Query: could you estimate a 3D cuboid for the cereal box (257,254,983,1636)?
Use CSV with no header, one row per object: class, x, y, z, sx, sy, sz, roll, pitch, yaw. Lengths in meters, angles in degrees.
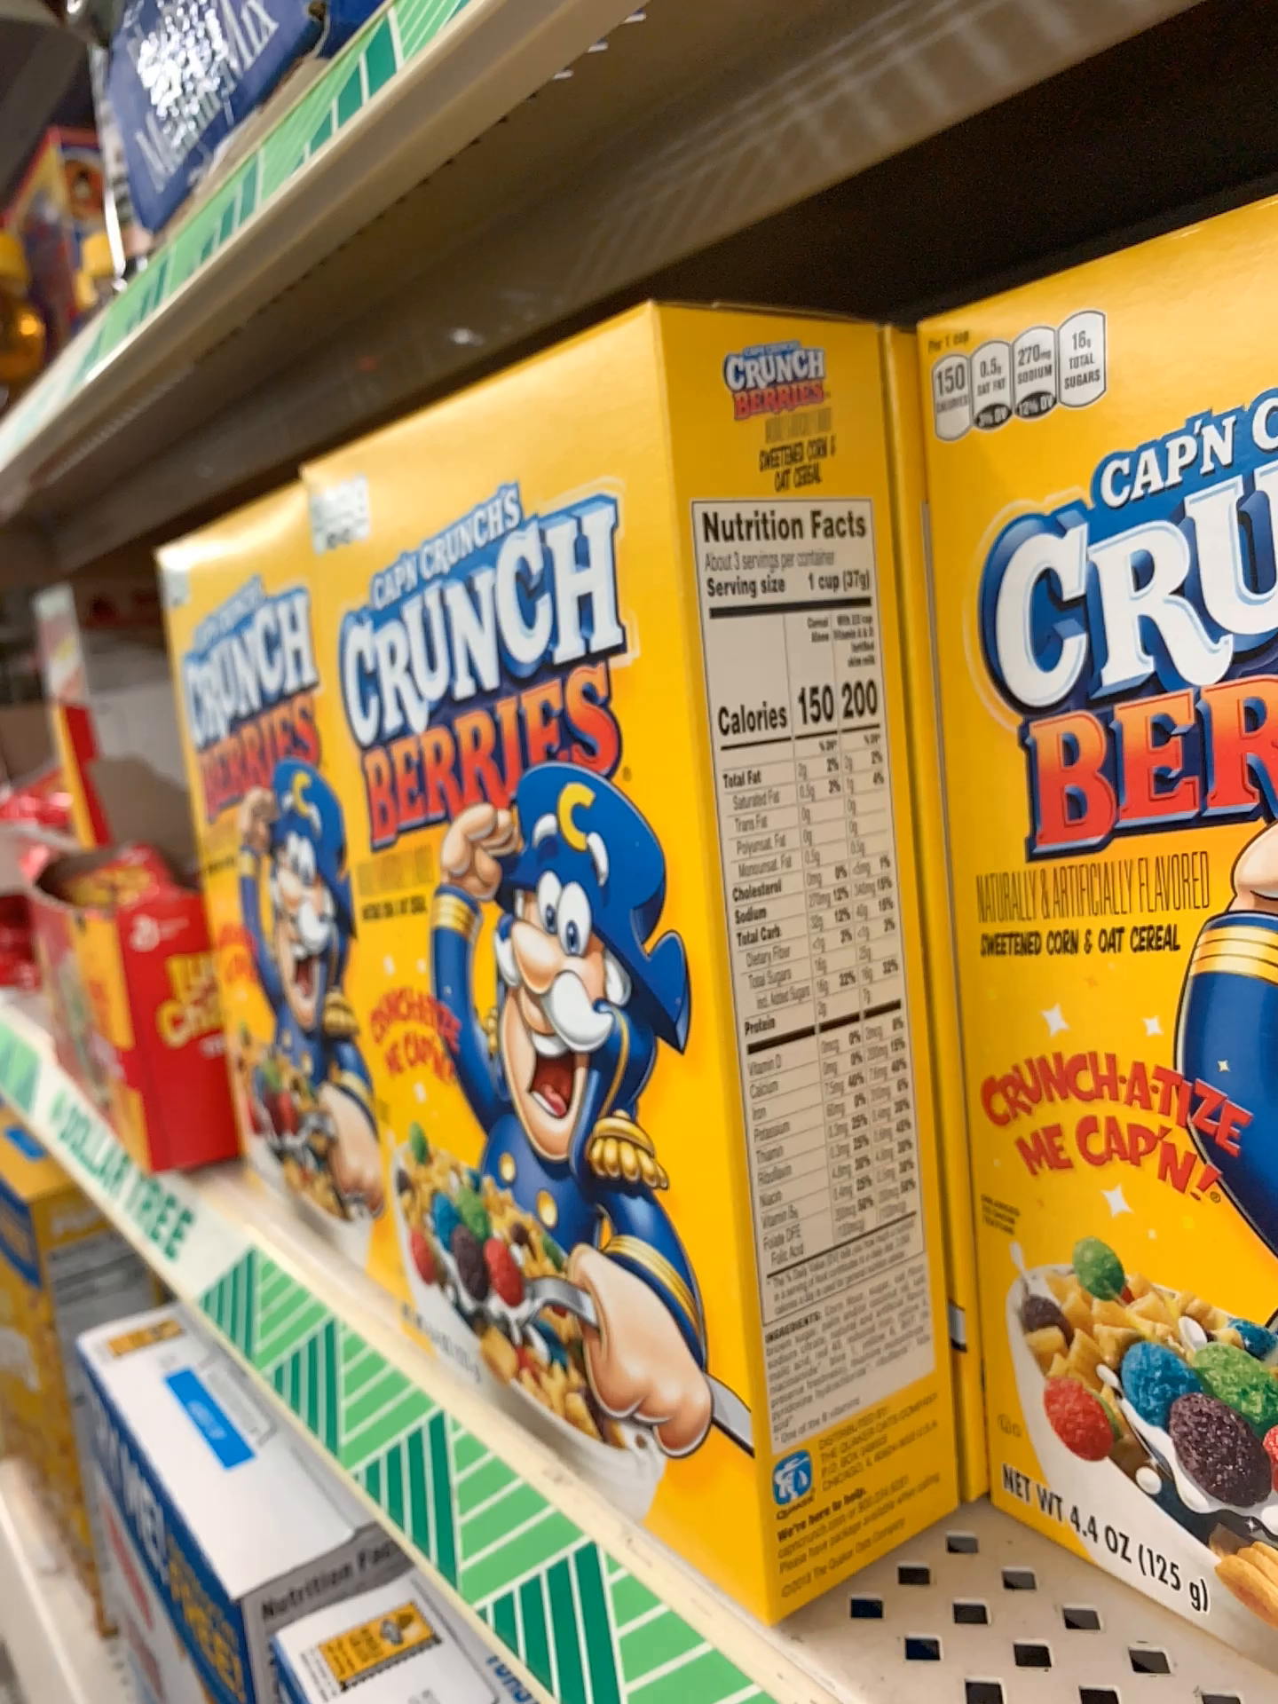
cereal box,-0.013,0.011,0.267,0.050,0.200,0.150,-10,8,-34
